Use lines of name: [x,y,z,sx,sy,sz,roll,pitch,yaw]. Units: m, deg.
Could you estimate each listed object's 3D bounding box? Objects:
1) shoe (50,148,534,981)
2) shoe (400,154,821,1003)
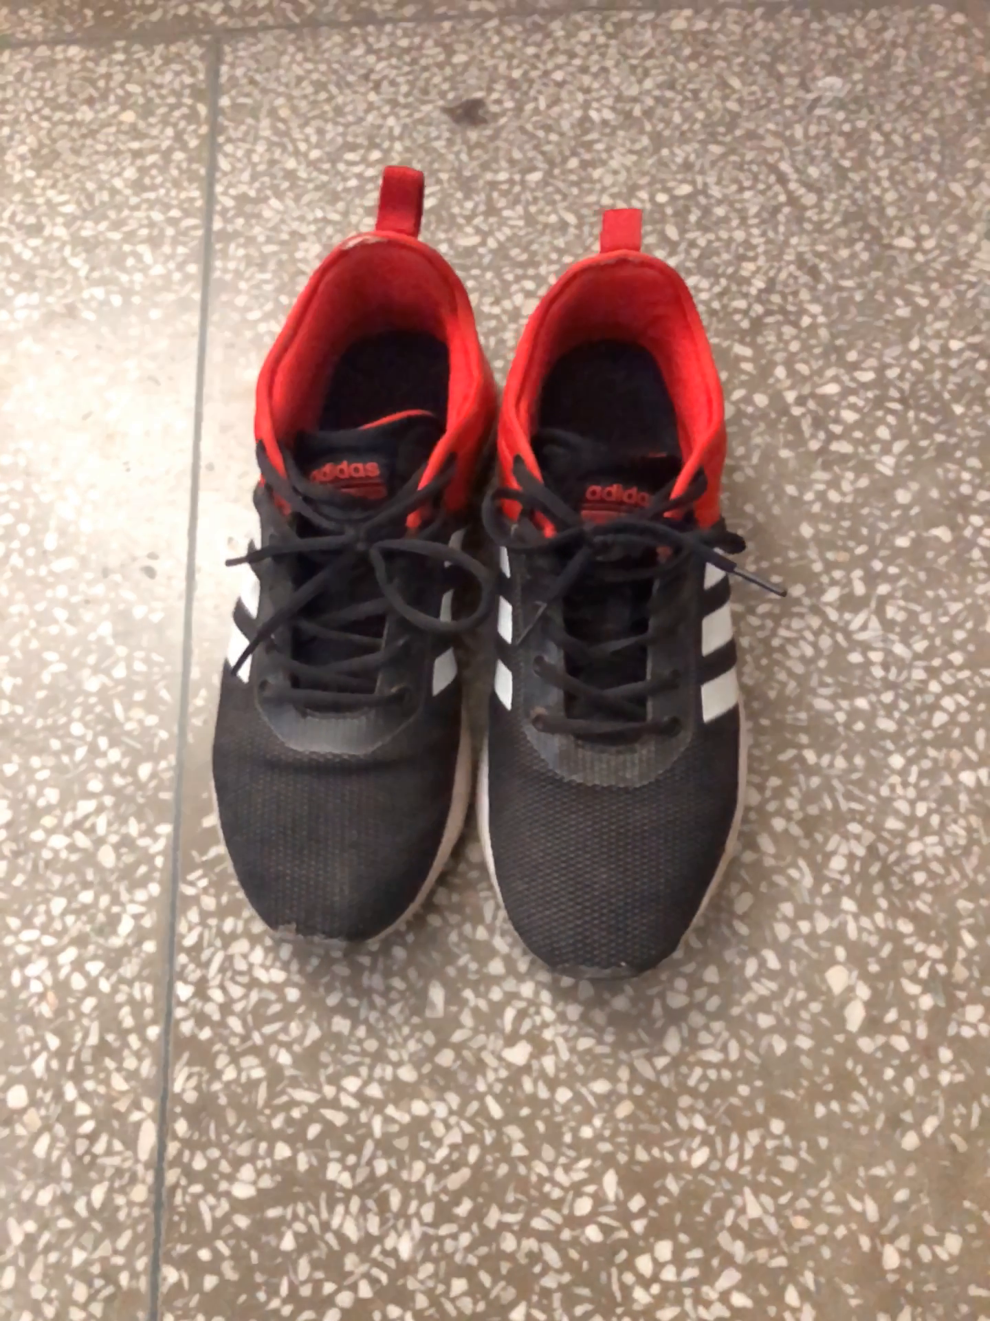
shoe: [-0.061,-0.037,0.464,0.130,0.140,0.310,4,69,3]
shoe: [0.047,-0.032,0.464,0.130,0.140,0.320,3,69,2]
